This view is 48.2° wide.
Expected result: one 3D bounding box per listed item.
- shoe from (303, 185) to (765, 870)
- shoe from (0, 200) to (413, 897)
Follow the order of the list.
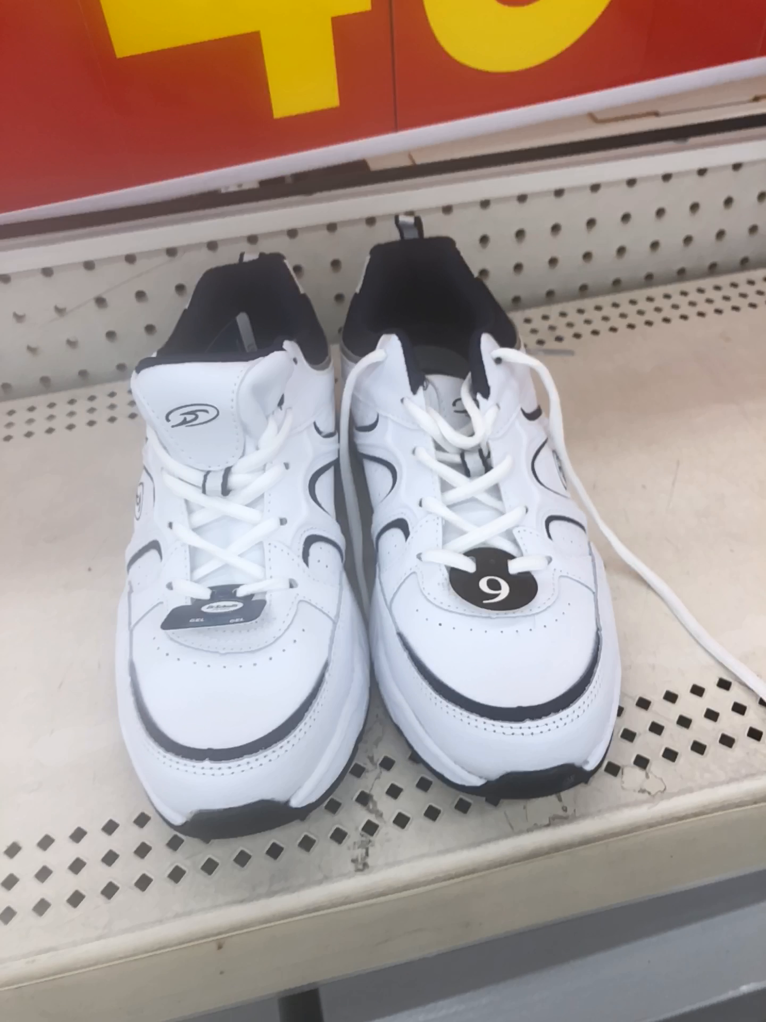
[{"bbox_3d":[0.039,-0.014,0.356,0.110,0.120,0.261,-8,46,-4],"label":"shoe"},{"bbox_3d":[-0.058,-0.005,0.348,0.110,0.120,0.261,-5,46,-1],"label":"shoe"}]
